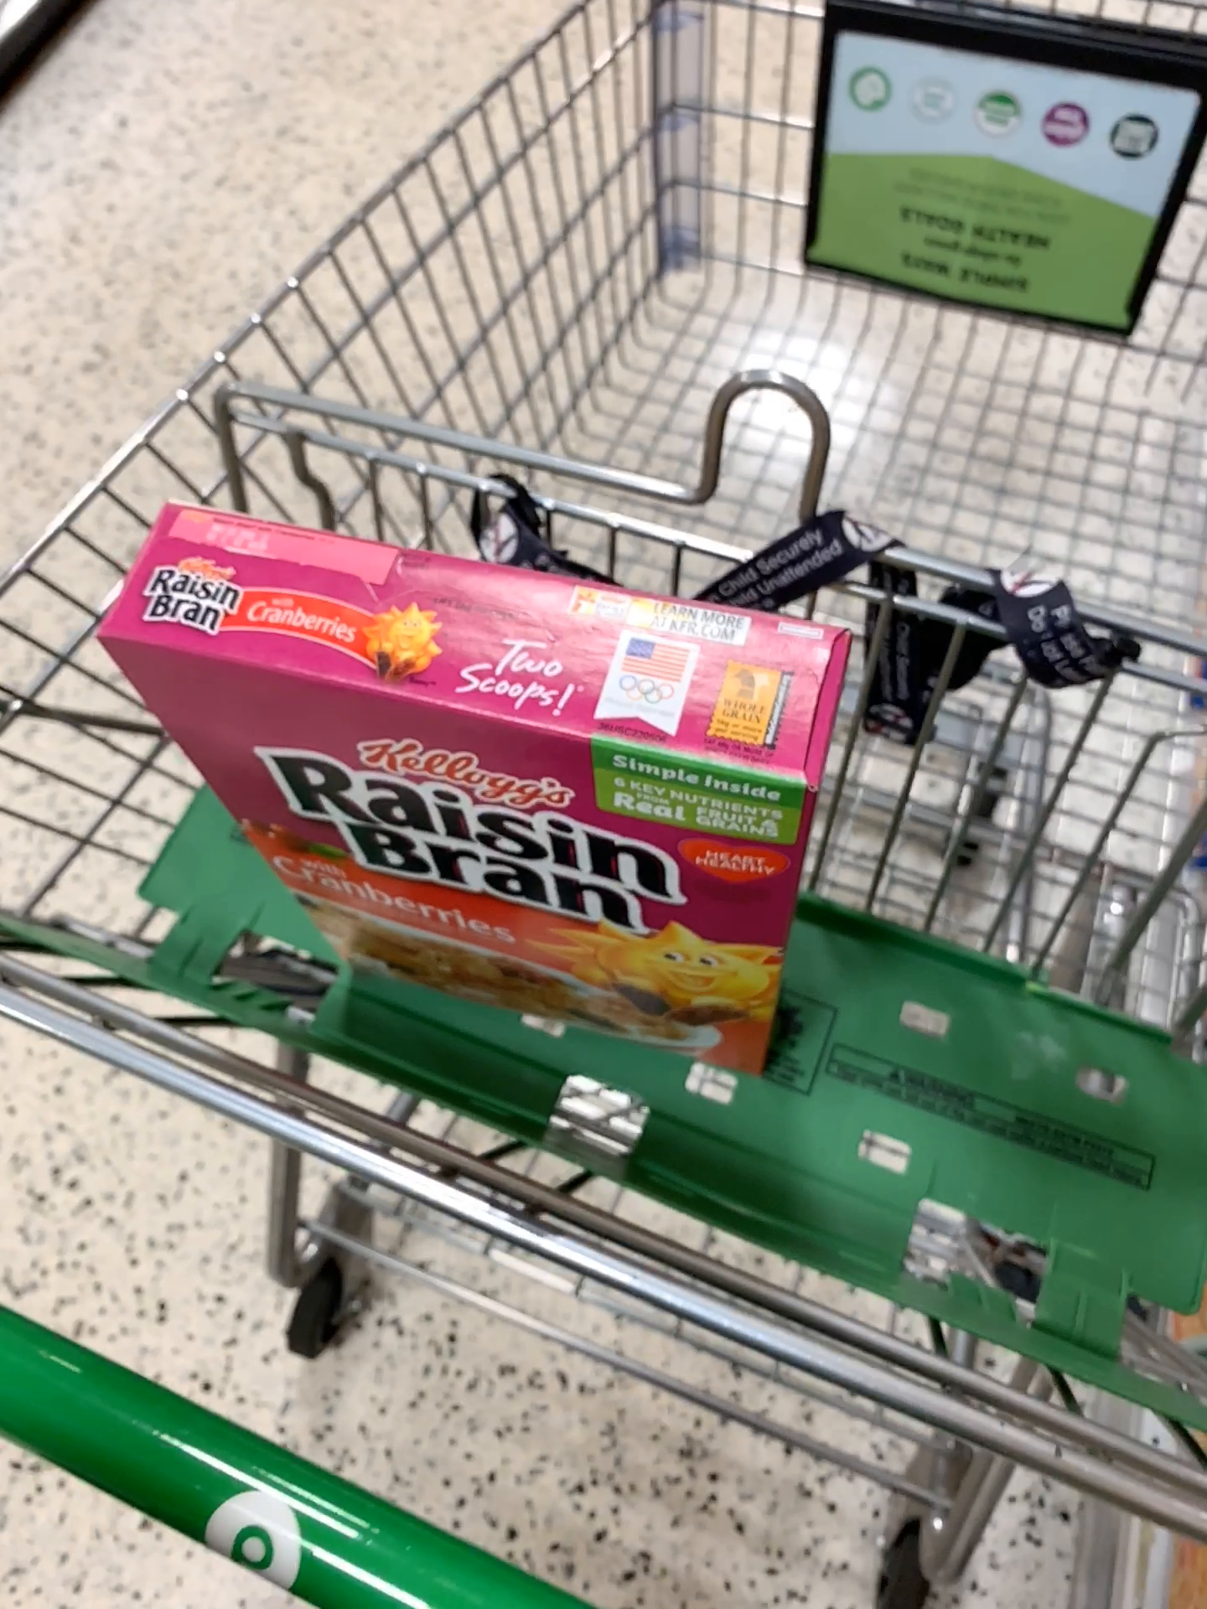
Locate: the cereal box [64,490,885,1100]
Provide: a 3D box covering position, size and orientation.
[{"bbox_3d":[-0.026,0.026,0.476,0.210,0.328,0.050,13,66,10],"label":"cereal box"}]
